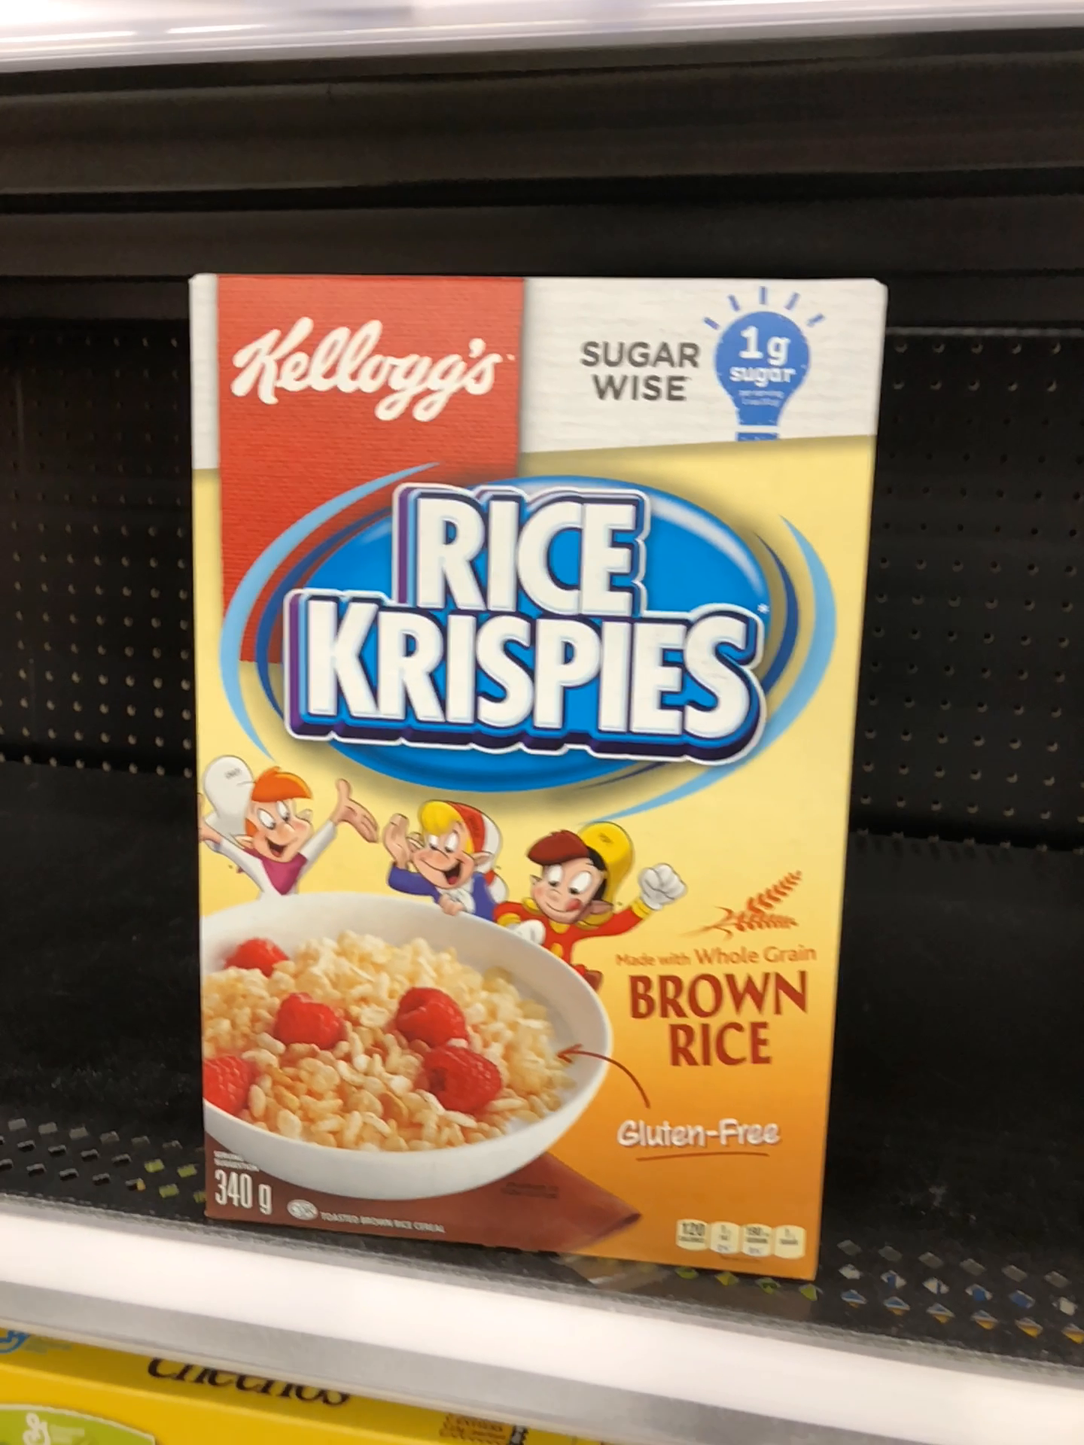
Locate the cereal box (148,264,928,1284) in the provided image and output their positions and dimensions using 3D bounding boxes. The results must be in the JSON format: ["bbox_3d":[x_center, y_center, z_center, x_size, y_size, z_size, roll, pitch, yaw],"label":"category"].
[{"bbox_3d":[-0.005,0.015,0.375,0.210,0.289,0.060,3,10,7],"label":"cereal box"}]
